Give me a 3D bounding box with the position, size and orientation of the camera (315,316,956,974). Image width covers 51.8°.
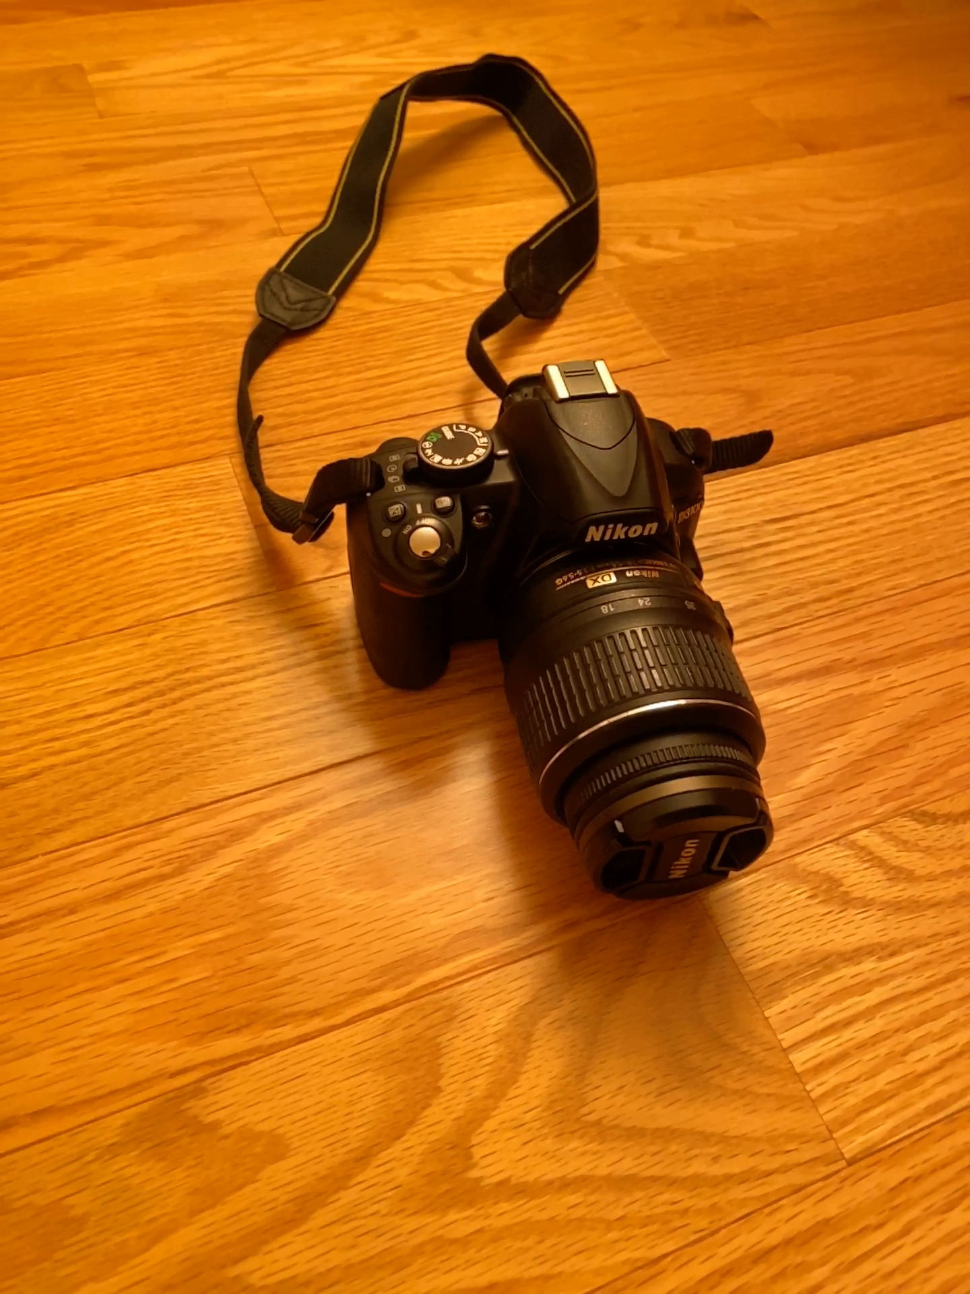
[{"bbox_3d":[0.028,-0.008,0.313,0.130,0.099,0.161,-9,52,-11],"label":"camera"}]
